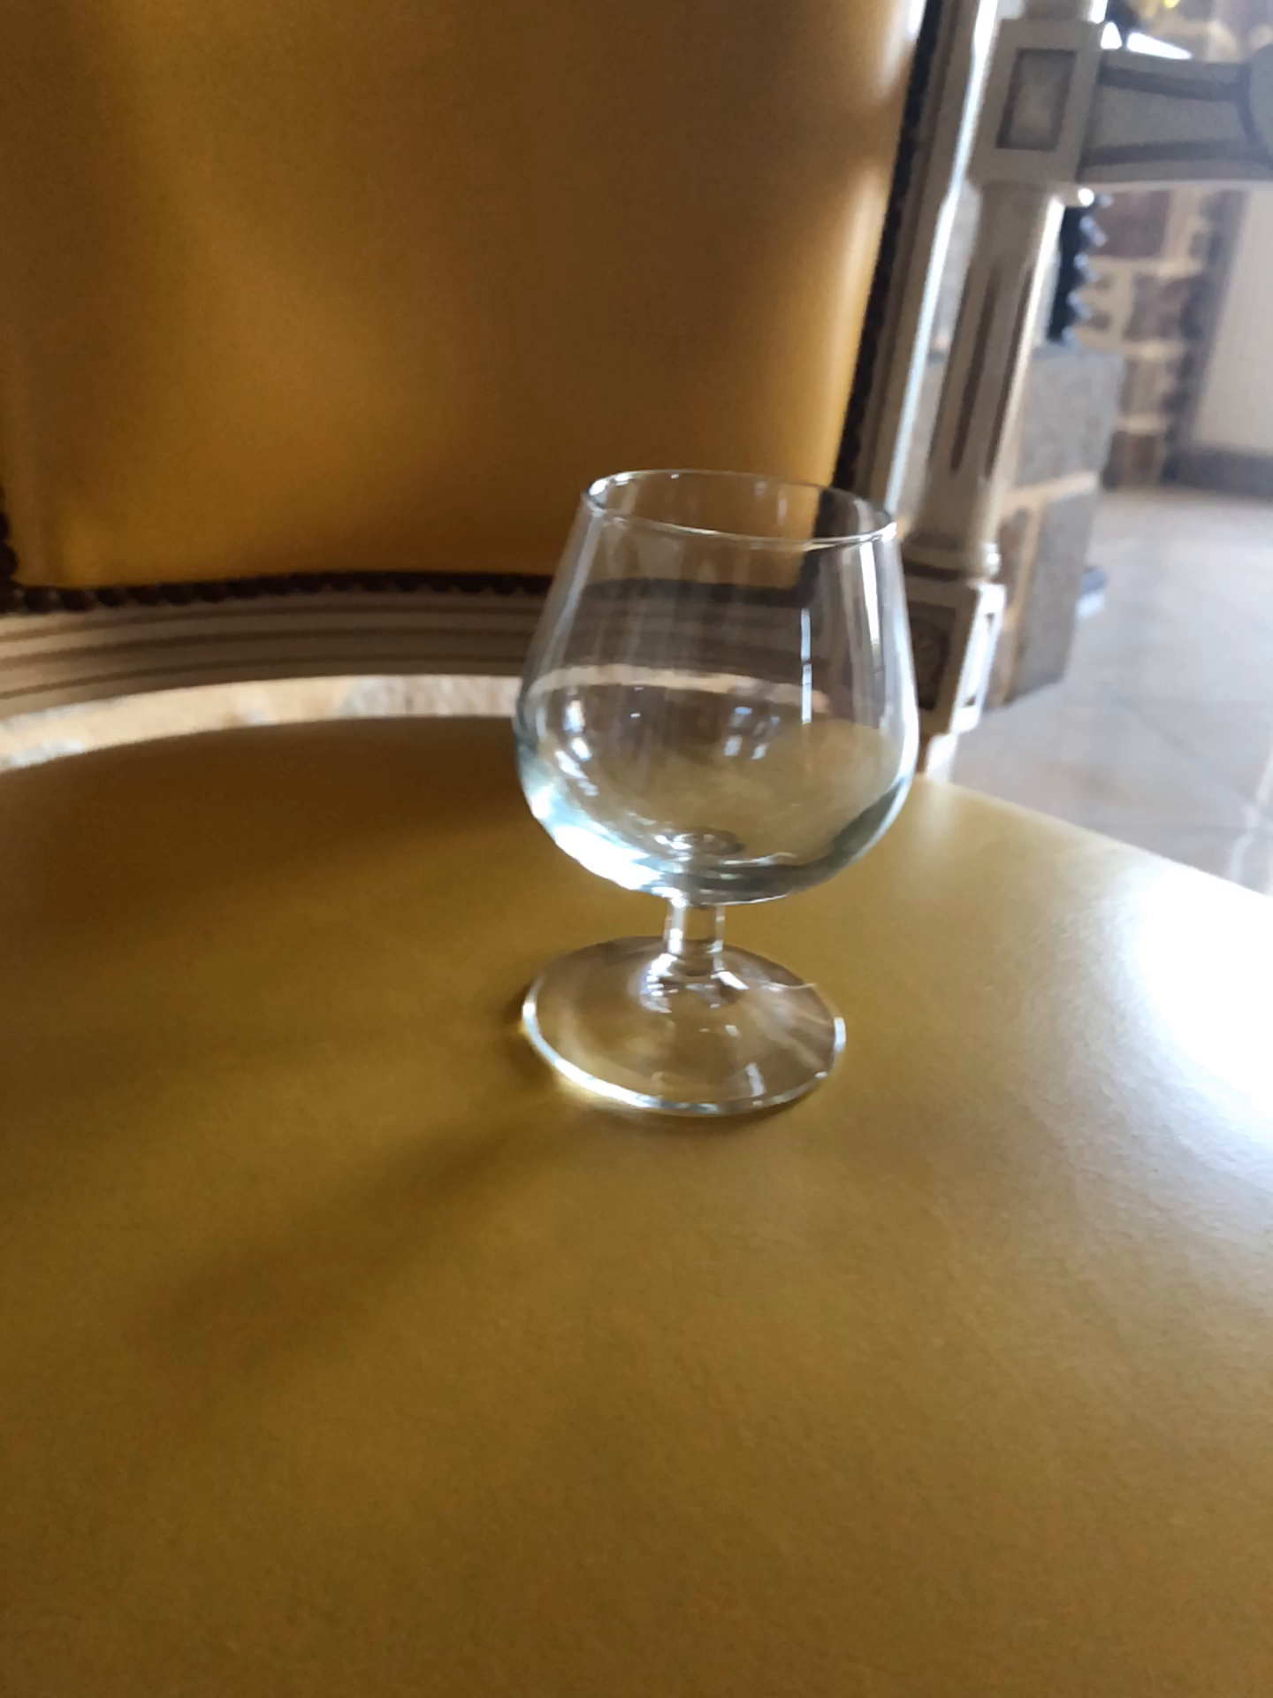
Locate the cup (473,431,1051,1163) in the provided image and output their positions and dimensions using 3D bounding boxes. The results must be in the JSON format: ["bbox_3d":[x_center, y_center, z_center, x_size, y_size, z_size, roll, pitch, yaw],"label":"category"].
[{"bbox_3d":[0.016,-0.014,0.231,0.070,0.090,0.080,5,23,2],"label":"cup"}]
